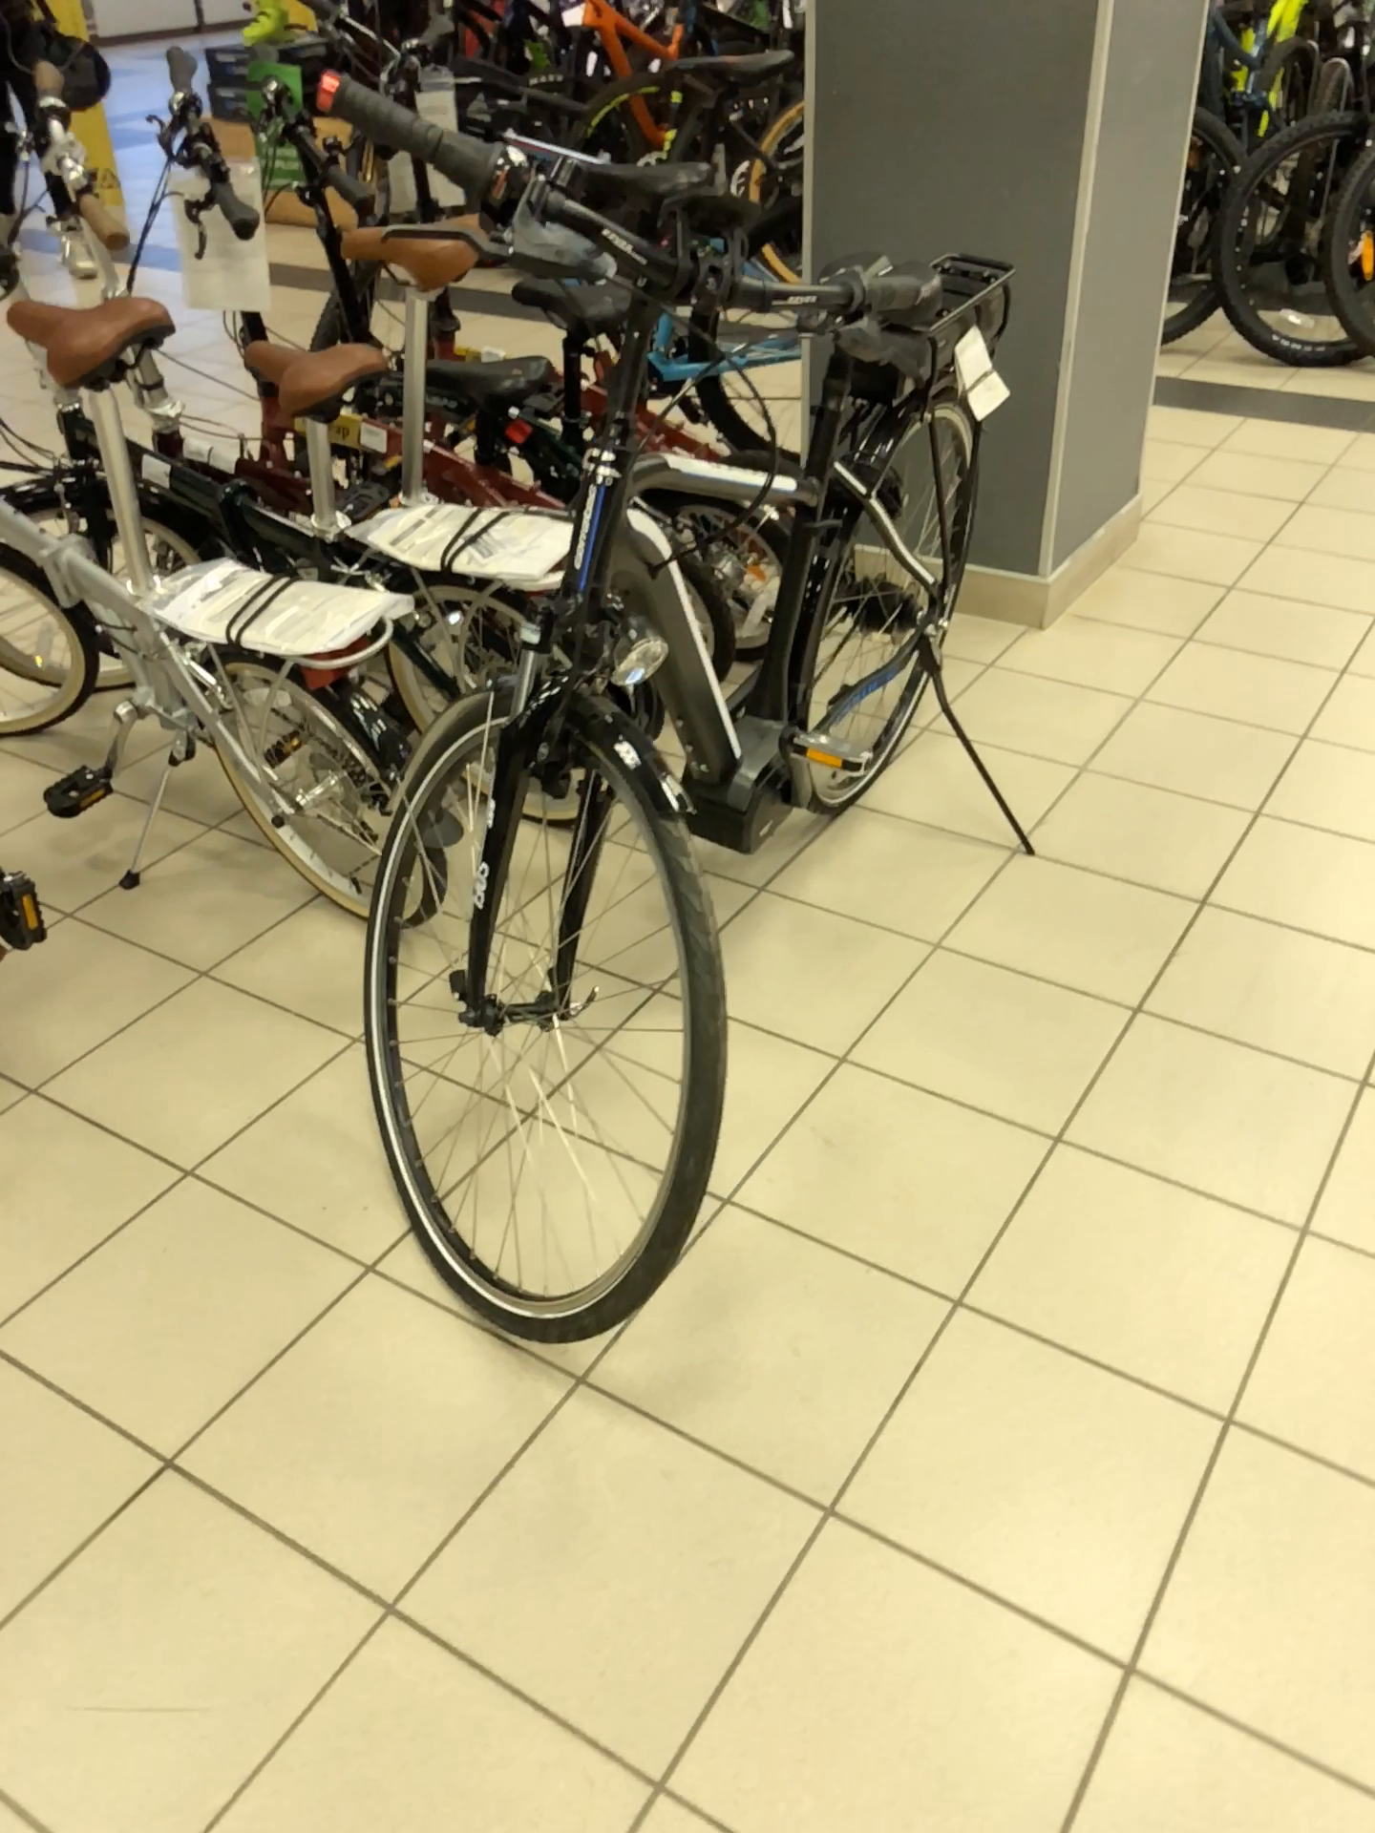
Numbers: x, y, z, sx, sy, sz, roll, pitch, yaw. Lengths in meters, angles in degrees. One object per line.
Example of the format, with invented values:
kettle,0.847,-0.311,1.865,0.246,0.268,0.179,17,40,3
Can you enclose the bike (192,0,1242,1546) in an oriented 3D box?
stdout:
bike,0.221,-0.391,1.920,0.696,1.176,1.620,9,37,16
